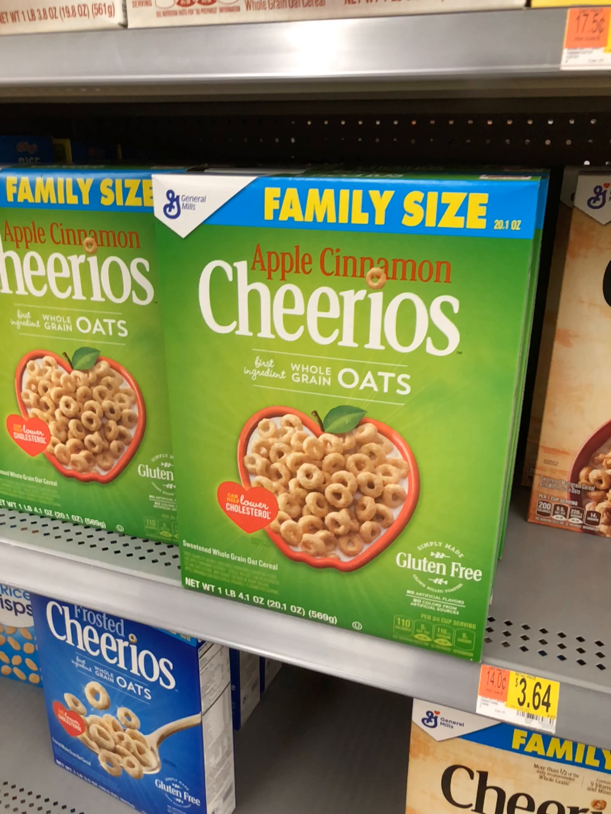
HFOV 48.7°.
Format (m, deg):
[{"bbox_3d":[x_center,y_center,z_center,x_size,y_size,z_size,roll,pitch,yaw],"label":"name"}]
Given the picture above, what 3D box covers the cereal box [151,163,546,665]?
[{"bbox_3d":[0.020,0.001,0.459,0.230,0.309,0.060,8,21,19],"label":"cereal box"}]
